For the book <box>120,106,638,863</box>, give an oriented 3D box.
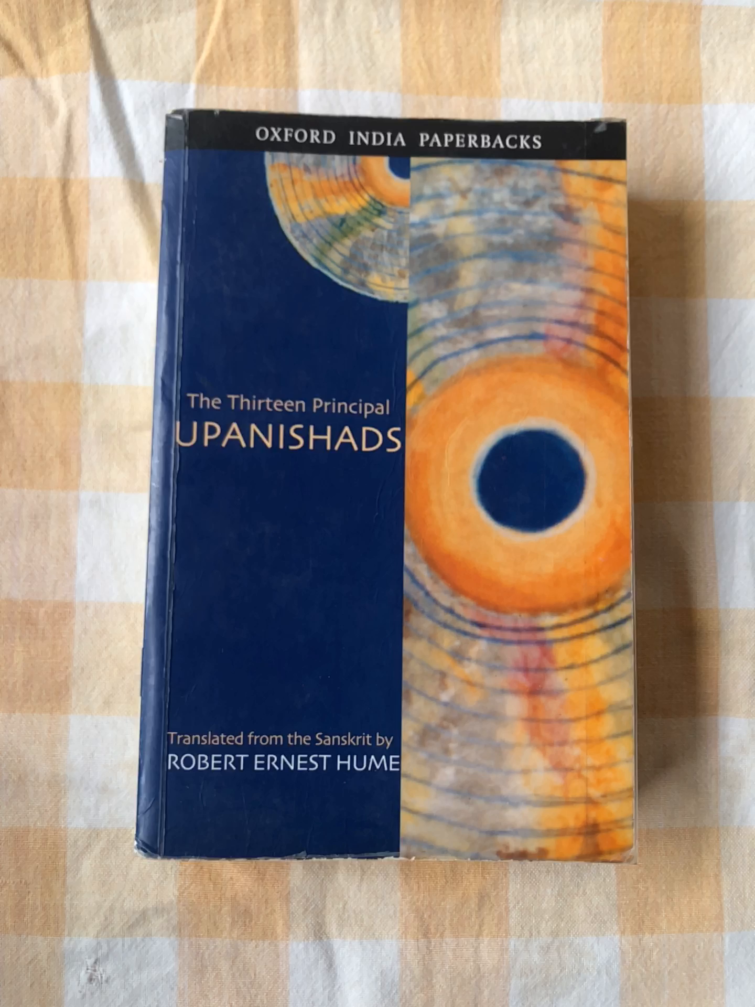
[{"bbox_3d":[0.002,-0.007,0.256,0.140,0.040,0.210,1,85,-2],"label":"book"}]
